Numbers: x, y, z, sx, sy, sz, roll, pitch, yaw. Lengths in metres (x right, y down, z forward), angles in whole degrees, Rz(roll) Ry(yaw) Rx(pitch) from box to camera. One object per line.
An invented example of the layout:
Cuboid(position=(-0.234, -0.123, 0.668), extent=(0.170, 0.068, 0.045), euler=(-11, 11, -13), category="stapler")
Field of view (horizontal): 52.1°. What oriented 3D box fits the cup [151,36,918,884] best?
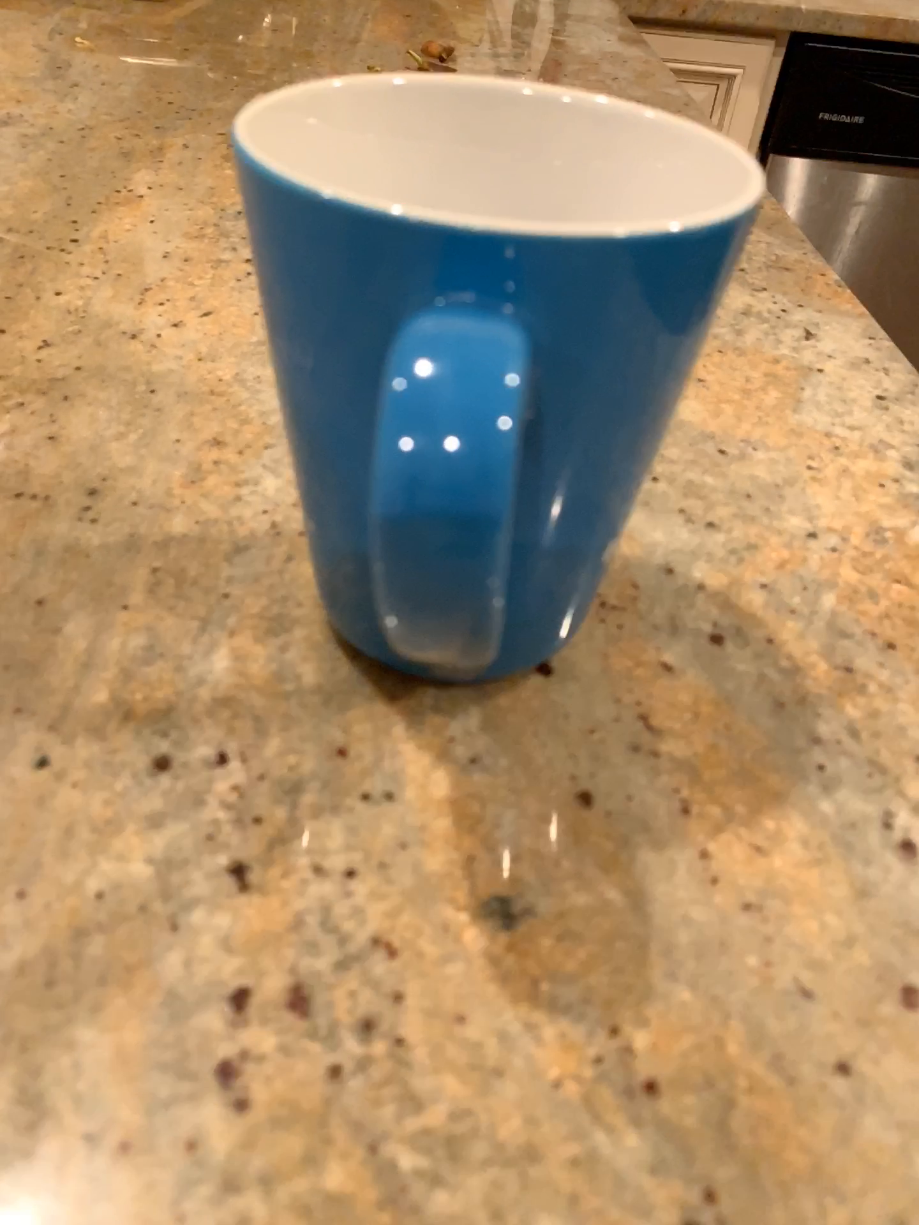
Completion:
Cuboid(position=(0.007, -0.037, 0.184), extent=(0.099, 0.098, 0.139), euler=(0, 42, -8), category="cup")
